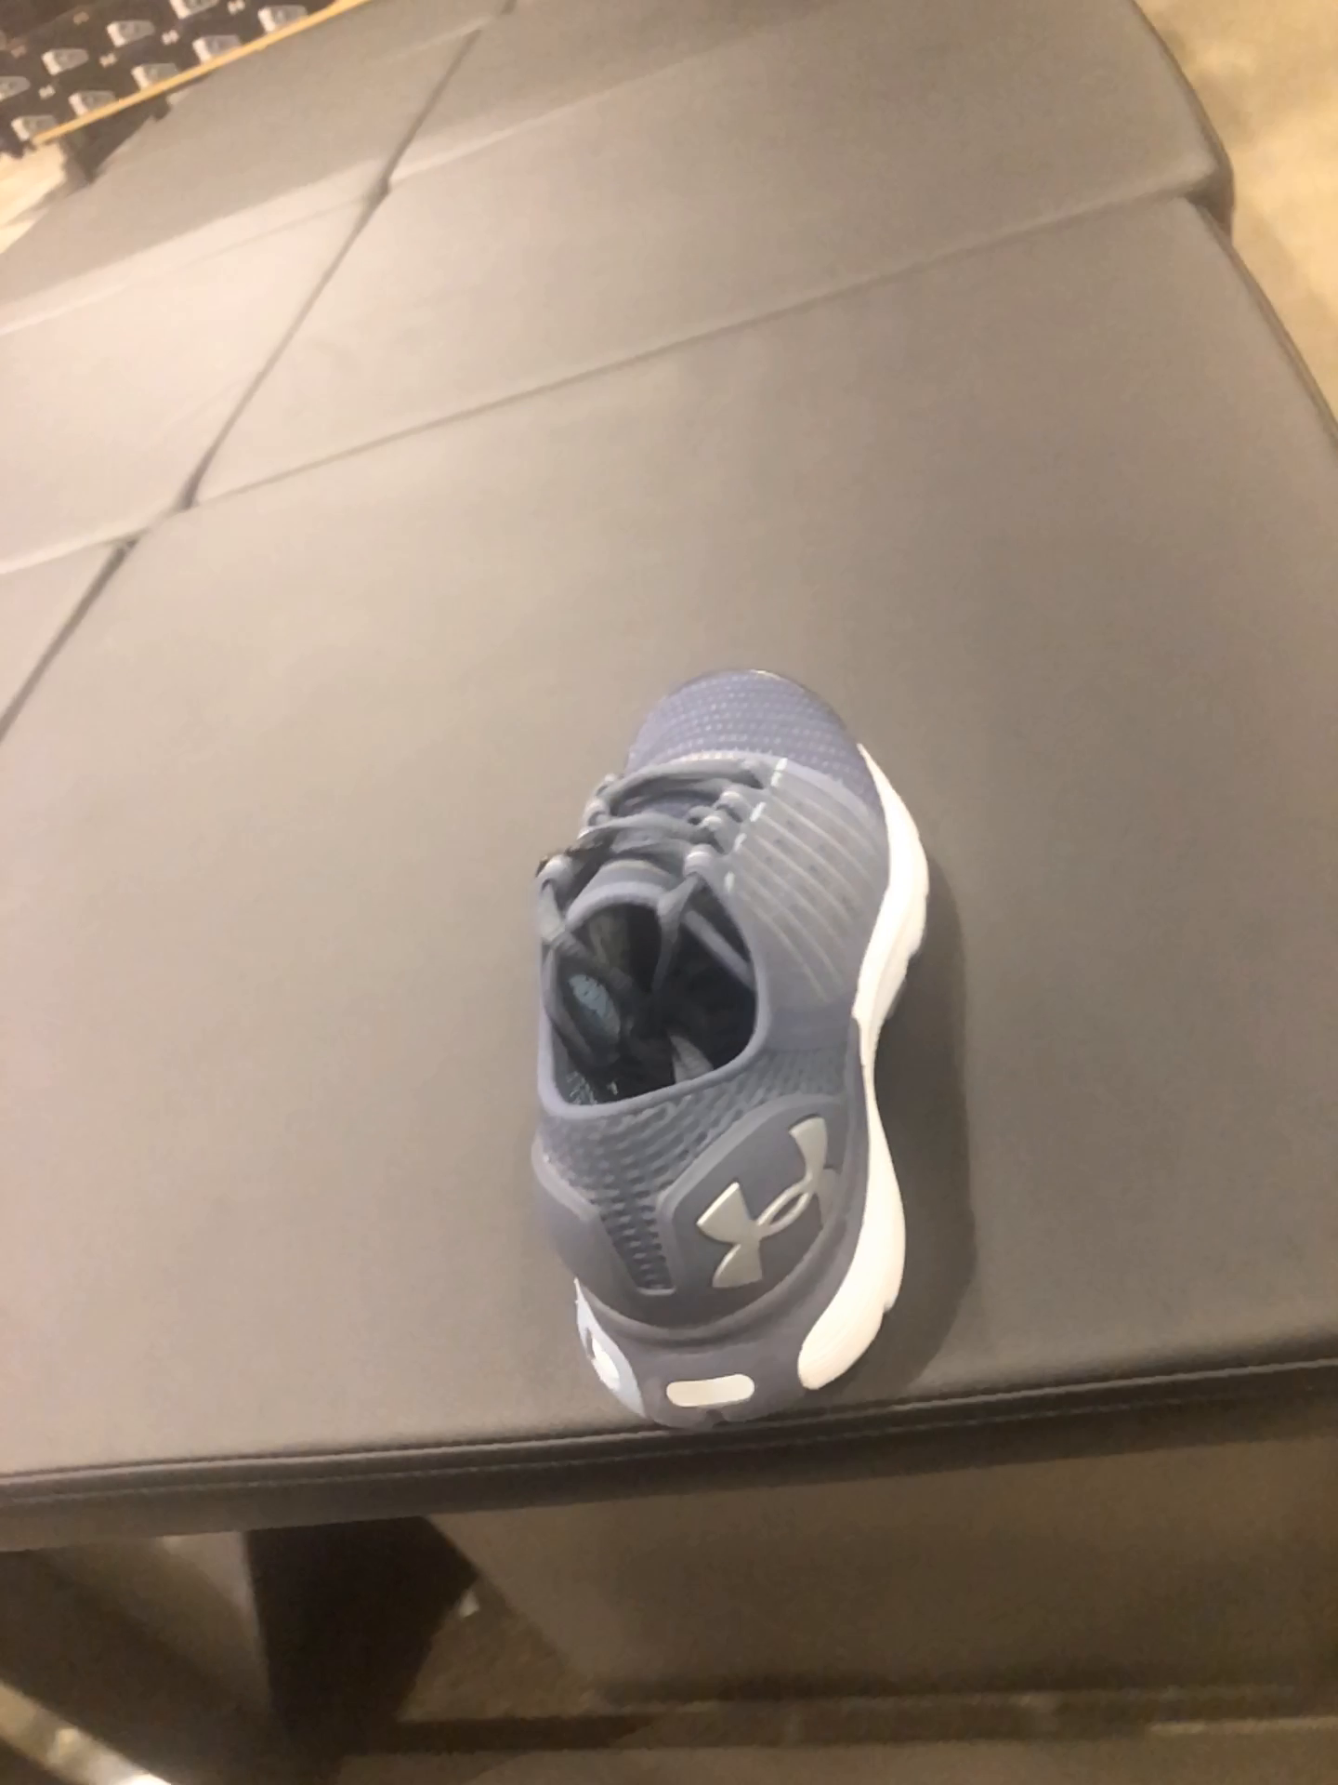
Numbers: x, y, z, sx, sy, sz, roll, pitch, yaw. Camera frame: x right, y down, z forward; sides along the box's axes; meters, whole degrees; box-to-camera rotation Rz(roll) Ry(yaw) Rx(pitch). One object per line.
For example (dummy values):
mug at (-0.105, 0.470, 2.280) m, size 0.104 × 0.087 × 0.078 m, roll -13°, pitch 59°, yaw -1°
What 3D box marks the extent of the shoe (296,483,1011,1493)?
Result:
shoe at (0.012, 0.010, 0.394) m, size 0.120 × 0.097 × 0.255 m, roll -11°, pitch 40°, yaw 17°
